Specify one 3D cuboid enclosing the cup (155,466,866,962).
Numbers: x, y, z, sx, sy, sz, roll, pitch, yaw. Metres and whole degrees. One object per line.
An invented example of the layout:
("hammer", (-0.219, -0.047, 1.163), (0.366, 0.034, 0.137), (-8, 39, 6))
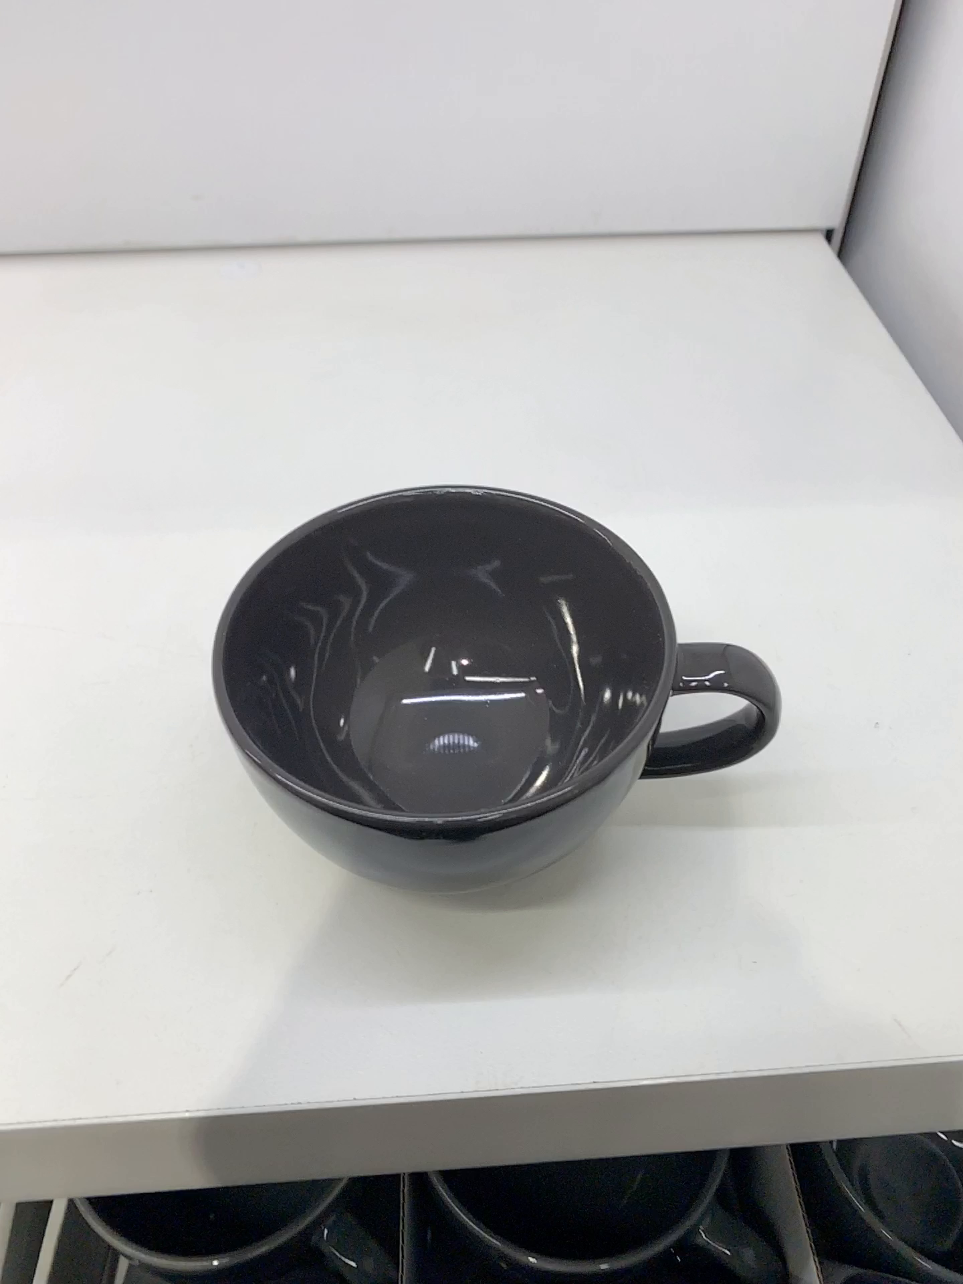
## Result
("cup", (0.006, 0.012, 0.239), (0.130, 0.050, 0.110), (1, 45, 1))
